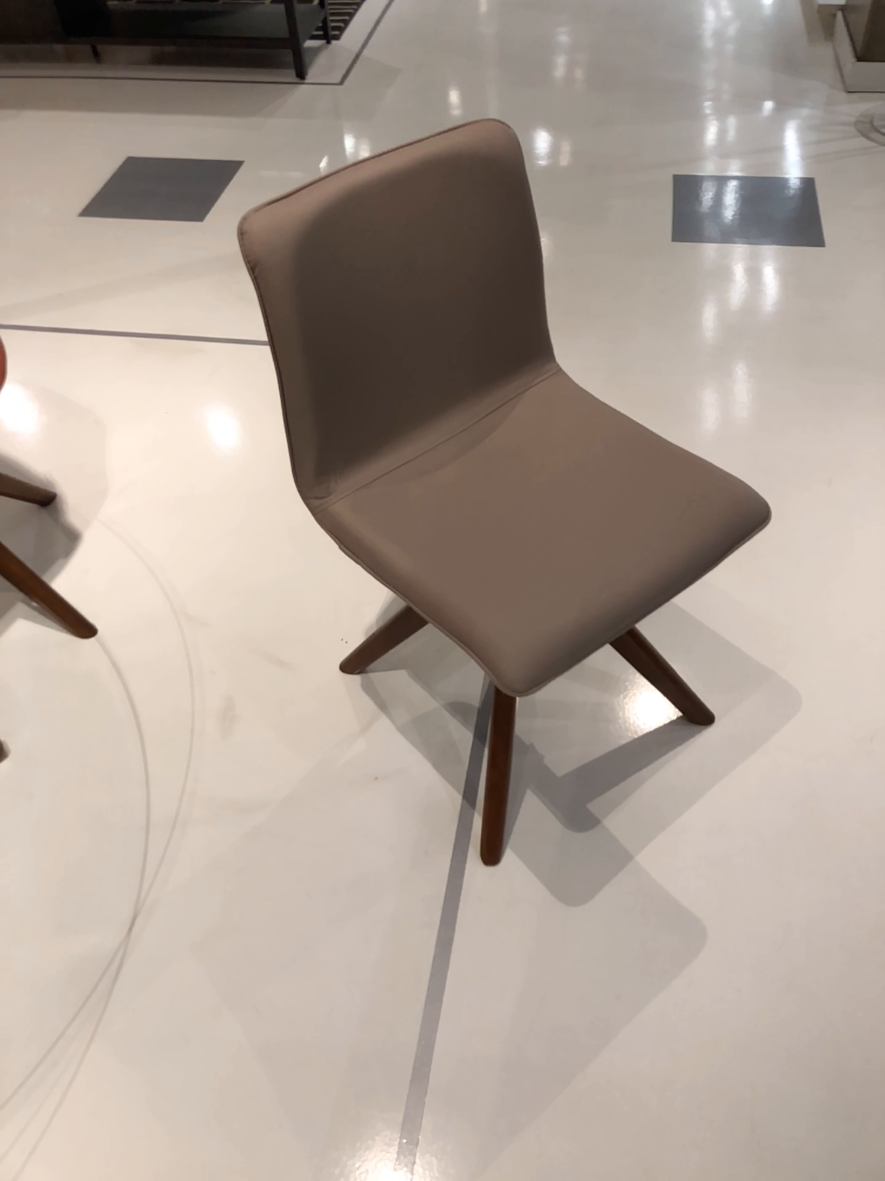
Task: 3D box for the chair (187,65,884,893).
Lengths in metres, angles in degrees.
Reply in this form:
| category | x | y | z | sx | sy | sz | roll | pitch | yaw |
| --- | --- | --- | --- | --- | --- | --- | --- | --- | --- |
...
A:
| category | x | y | z | sx | sy | sz | roll | pitch | yaw |
| --- | --- | --- | --- | --- | --- | --- | --- | --- | --- |
| chair | 0.108 | -0.124 | 1.267 | 0.501 | 0.805 | 0.512 | -32 | 53 | -23 |
